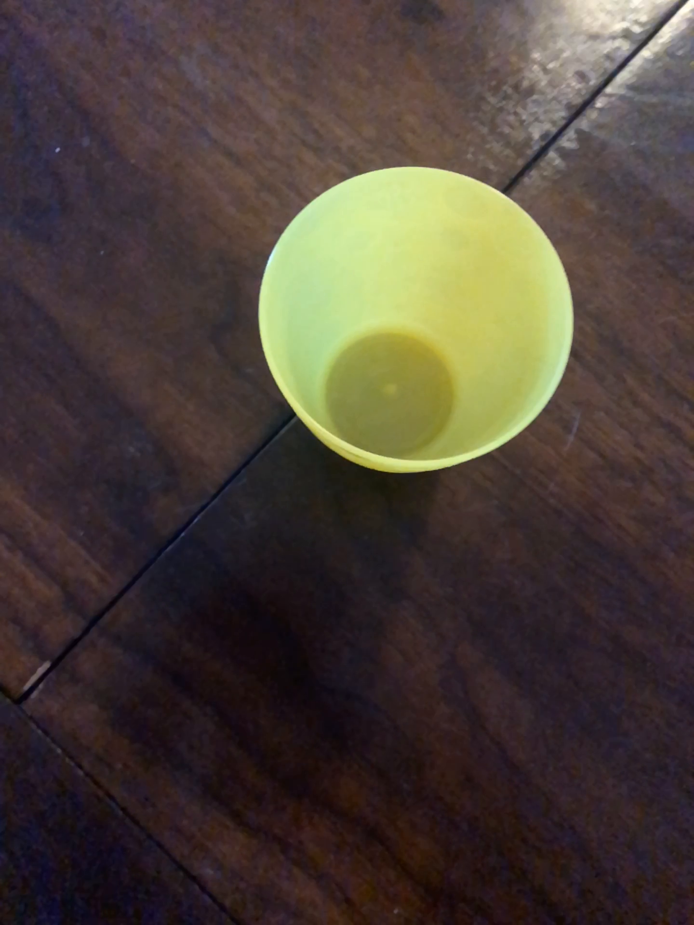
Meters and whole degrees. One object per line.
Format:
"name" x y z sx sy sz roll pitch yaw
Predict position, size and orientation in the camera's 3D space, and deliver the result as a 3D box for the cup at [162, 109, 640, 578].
"cup" 0.012 -0.025 0.222 0.080 0.080 0.080 0 80 -2
